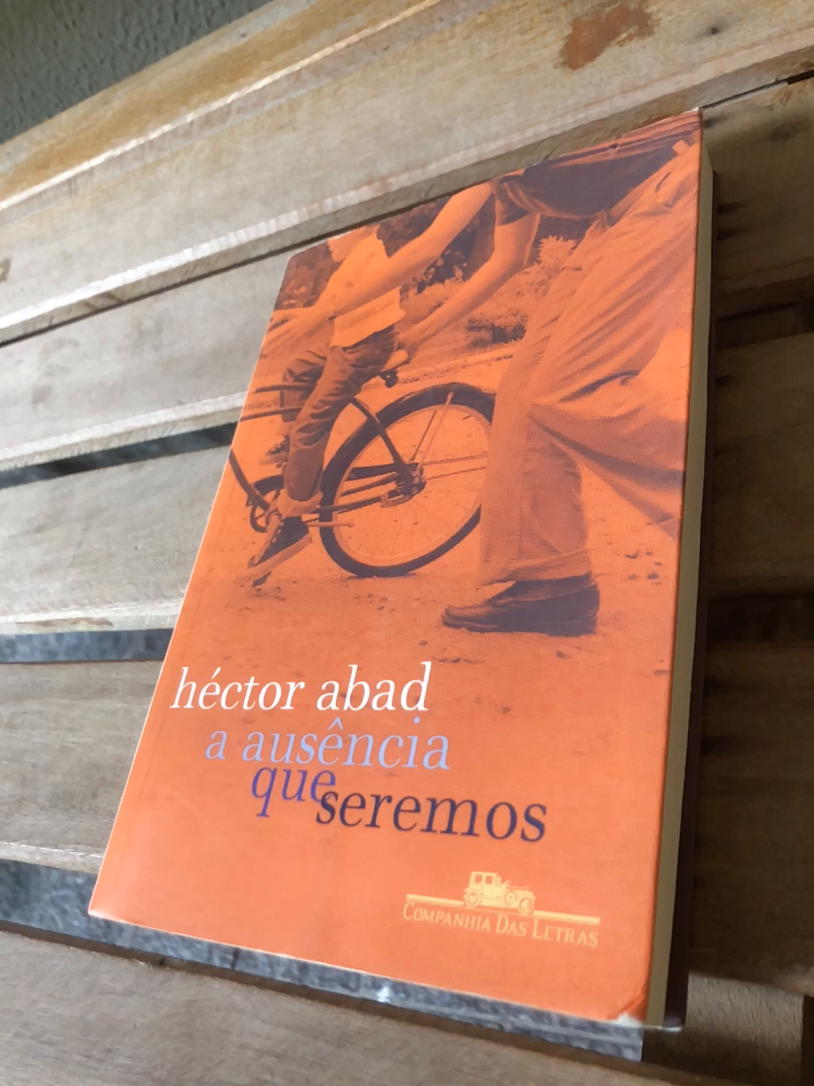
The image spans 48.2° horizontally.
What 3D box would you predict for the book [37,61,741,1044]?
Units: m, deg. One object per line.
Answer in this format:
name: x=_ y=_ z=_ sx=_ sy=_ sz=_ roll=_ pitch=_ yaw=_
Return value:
book: x=0.000 y=-0.011 z=0.213 sx=0.143 sy=0.020 sz=0.200 roll=-7 pitch=59 yaw=34
